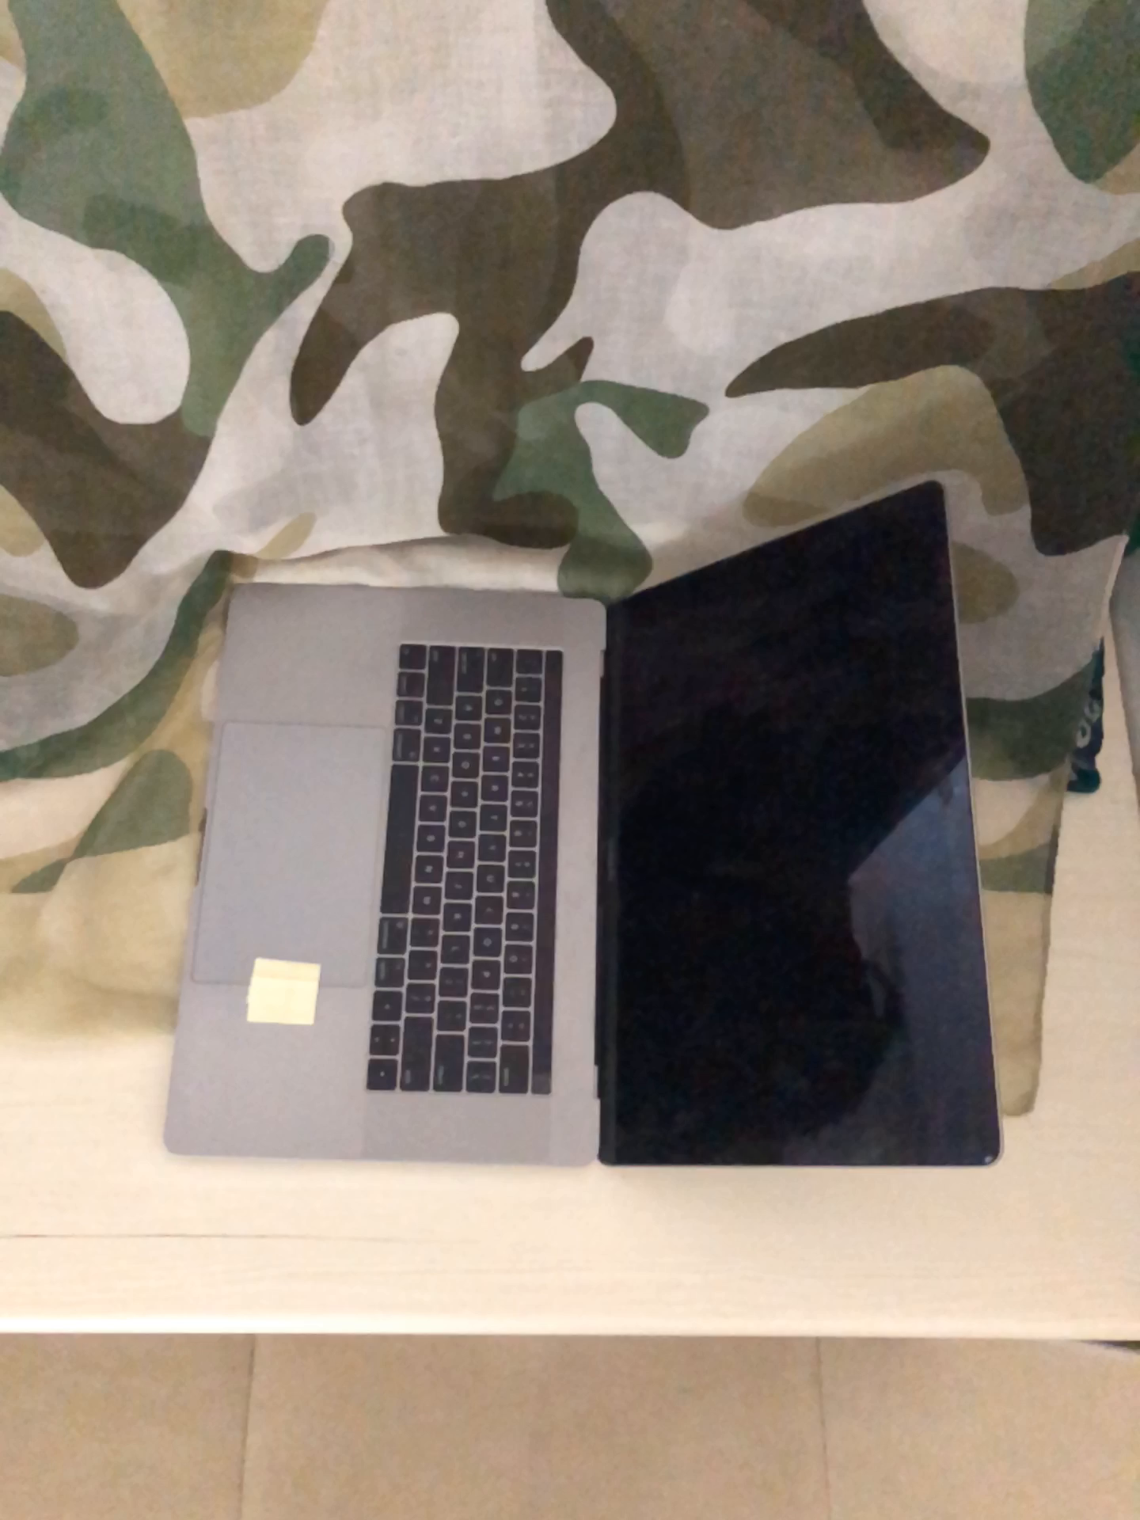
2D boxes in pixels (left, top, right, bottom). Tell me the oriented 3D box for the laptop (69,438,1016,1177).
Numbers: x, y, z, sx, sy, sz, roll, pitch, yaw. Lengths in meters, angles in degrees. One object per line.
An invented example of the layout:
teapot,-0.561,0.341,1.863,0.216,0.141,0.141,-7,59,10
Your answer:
laptop,-0.012,0.032,0.671,0.402,0.166,0.341,2,69,-2
